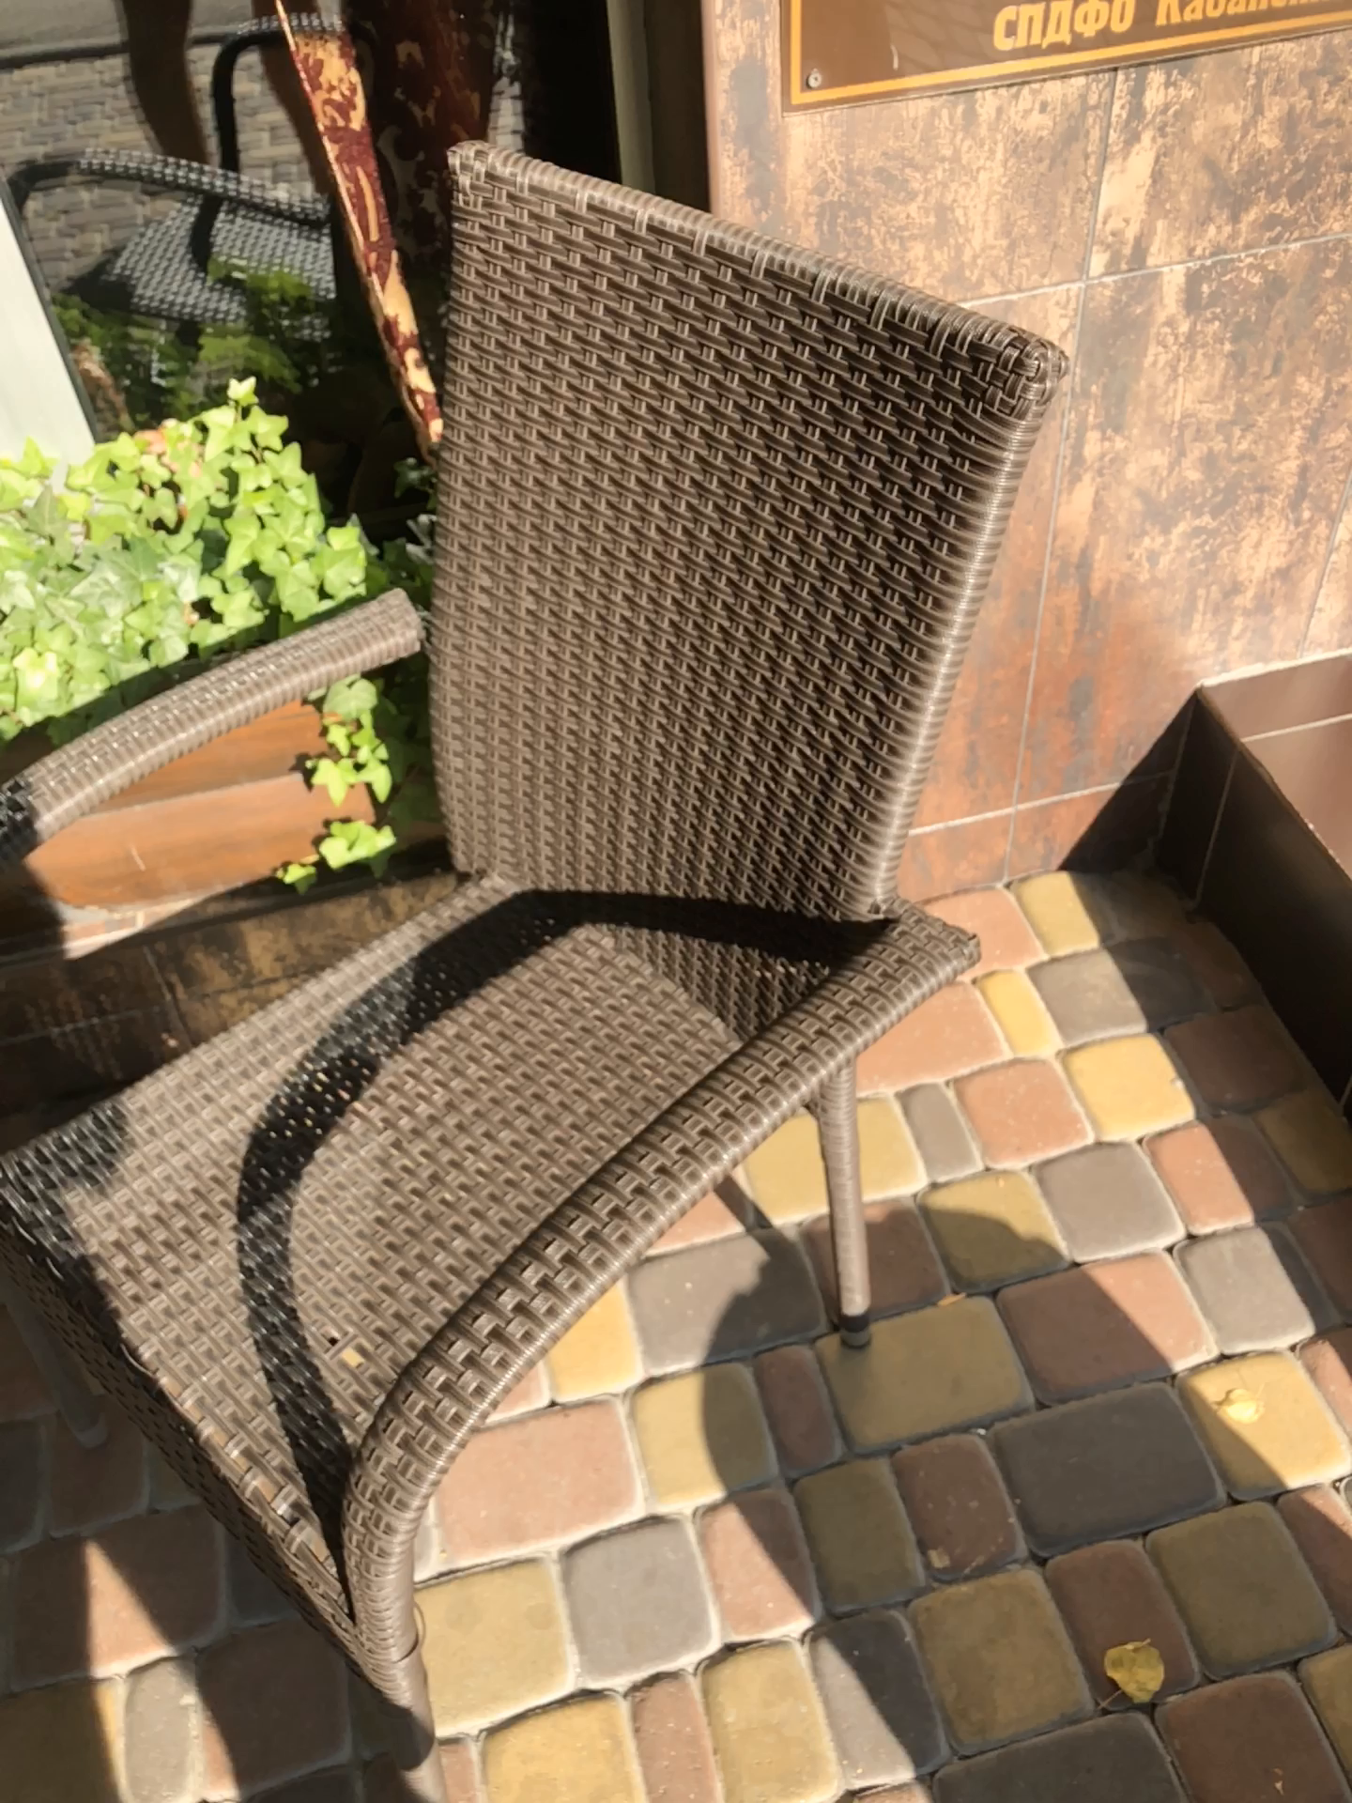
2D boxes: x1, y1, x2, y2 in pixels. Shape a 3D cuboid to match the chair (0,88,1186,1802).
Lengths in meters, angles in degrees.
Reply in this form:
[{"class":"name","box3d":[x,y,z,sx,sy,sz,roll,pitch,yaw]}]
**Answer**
[{"class":"chair","box3d":[-0.152,0.088,0.933,0.521,0.847,0.581,34,57,30]}]
